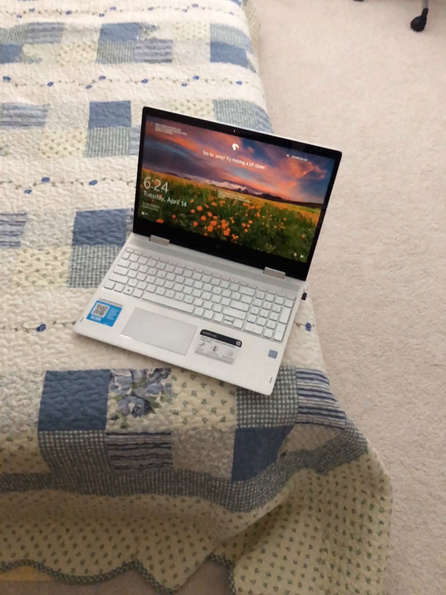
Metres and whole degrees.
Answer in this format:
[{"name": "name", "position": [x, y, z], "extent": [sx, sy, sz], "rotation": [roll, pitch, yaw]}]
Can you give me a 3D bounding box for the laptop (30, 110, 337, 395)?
[{"name": "laptop", "position": [-0.037, -0.089, 0.829], "extent": [0.355, 0.208, 0.358], "rotation": [16, 56, 10]}]
